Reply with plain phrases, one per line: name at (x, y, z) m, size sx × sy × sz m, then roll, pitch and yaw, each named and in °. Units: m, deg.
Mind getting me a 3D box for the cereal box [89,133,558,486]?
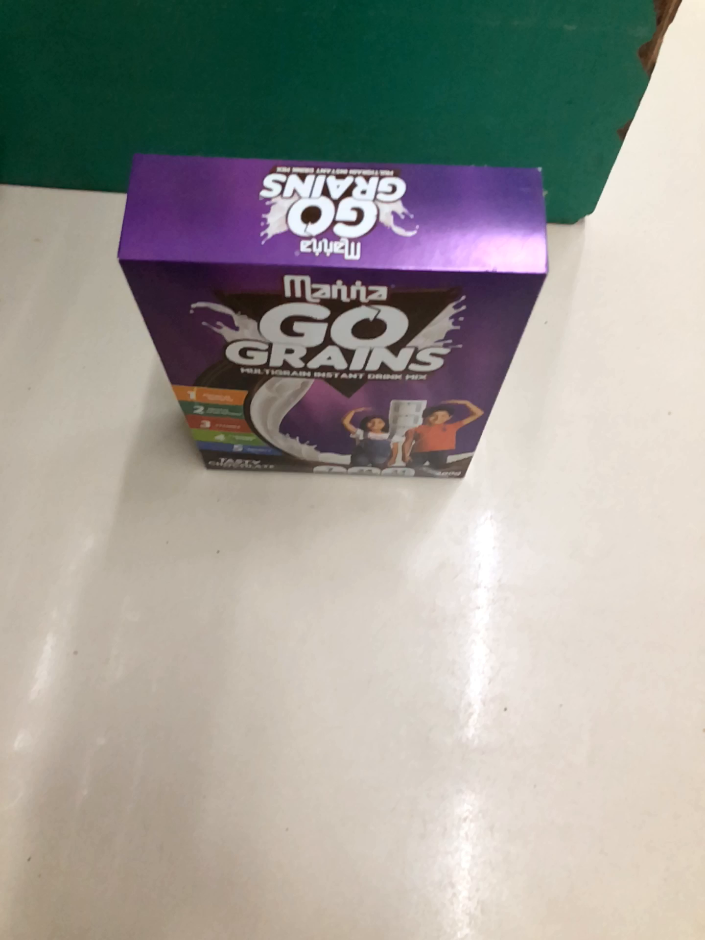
cereal box at (-0.011, -0.054, 0.346) m, size 0.150 × 0.189 × 0.050 m, roll 1°, pitch 66°, yaw -1°
